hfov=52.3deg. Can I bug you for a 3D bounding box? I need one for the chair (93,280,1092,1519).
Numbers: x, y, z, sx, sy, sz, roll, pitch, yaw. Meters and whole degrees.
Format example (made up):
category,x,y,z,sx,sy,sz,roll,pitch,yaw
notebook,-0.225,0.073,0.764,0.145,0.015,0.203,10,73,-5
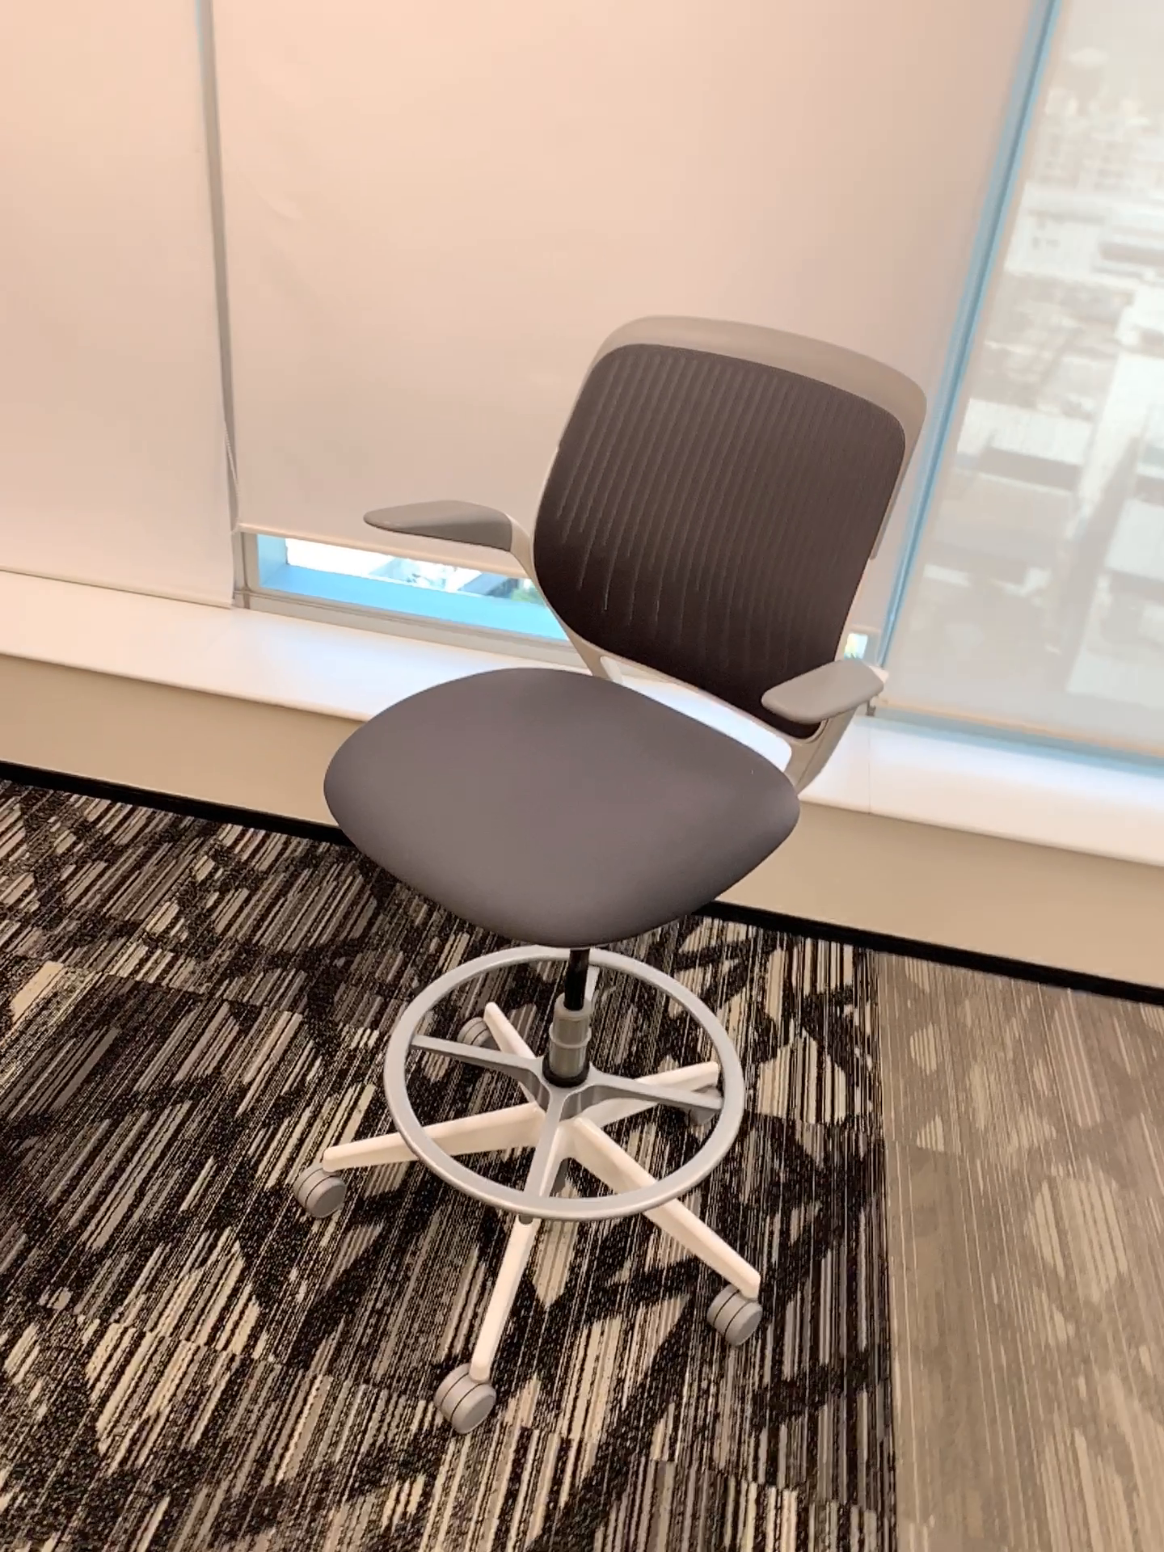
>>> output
category,x,y,z,sx,sy,sz,roll,pitch,yaw
chair,-0.040,0.086,1.447,0.693,1.140,0.693,-22,41,-38
